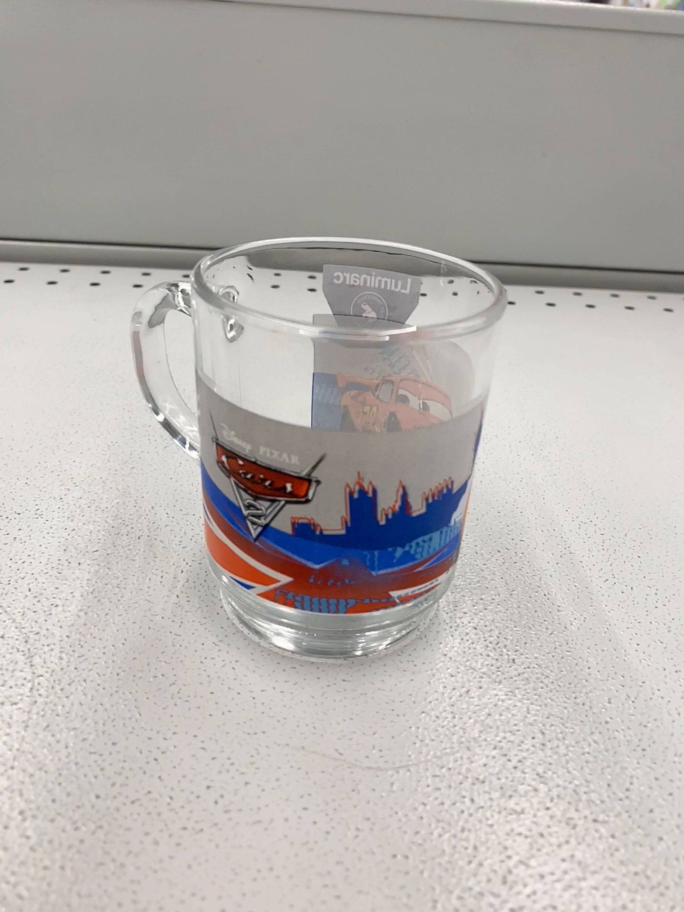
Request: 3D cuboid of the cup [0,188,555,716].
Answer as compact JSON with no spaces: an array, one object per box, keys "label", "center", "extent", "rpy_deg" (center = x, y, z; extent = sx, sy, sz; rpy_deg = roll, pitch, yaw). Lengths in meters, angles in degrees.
[{"label":"cup","center":[-0.017,-0.011,0.184],"extent":[0.108,0.087,0.071],"rpy_deg":[19,33,24]}]
